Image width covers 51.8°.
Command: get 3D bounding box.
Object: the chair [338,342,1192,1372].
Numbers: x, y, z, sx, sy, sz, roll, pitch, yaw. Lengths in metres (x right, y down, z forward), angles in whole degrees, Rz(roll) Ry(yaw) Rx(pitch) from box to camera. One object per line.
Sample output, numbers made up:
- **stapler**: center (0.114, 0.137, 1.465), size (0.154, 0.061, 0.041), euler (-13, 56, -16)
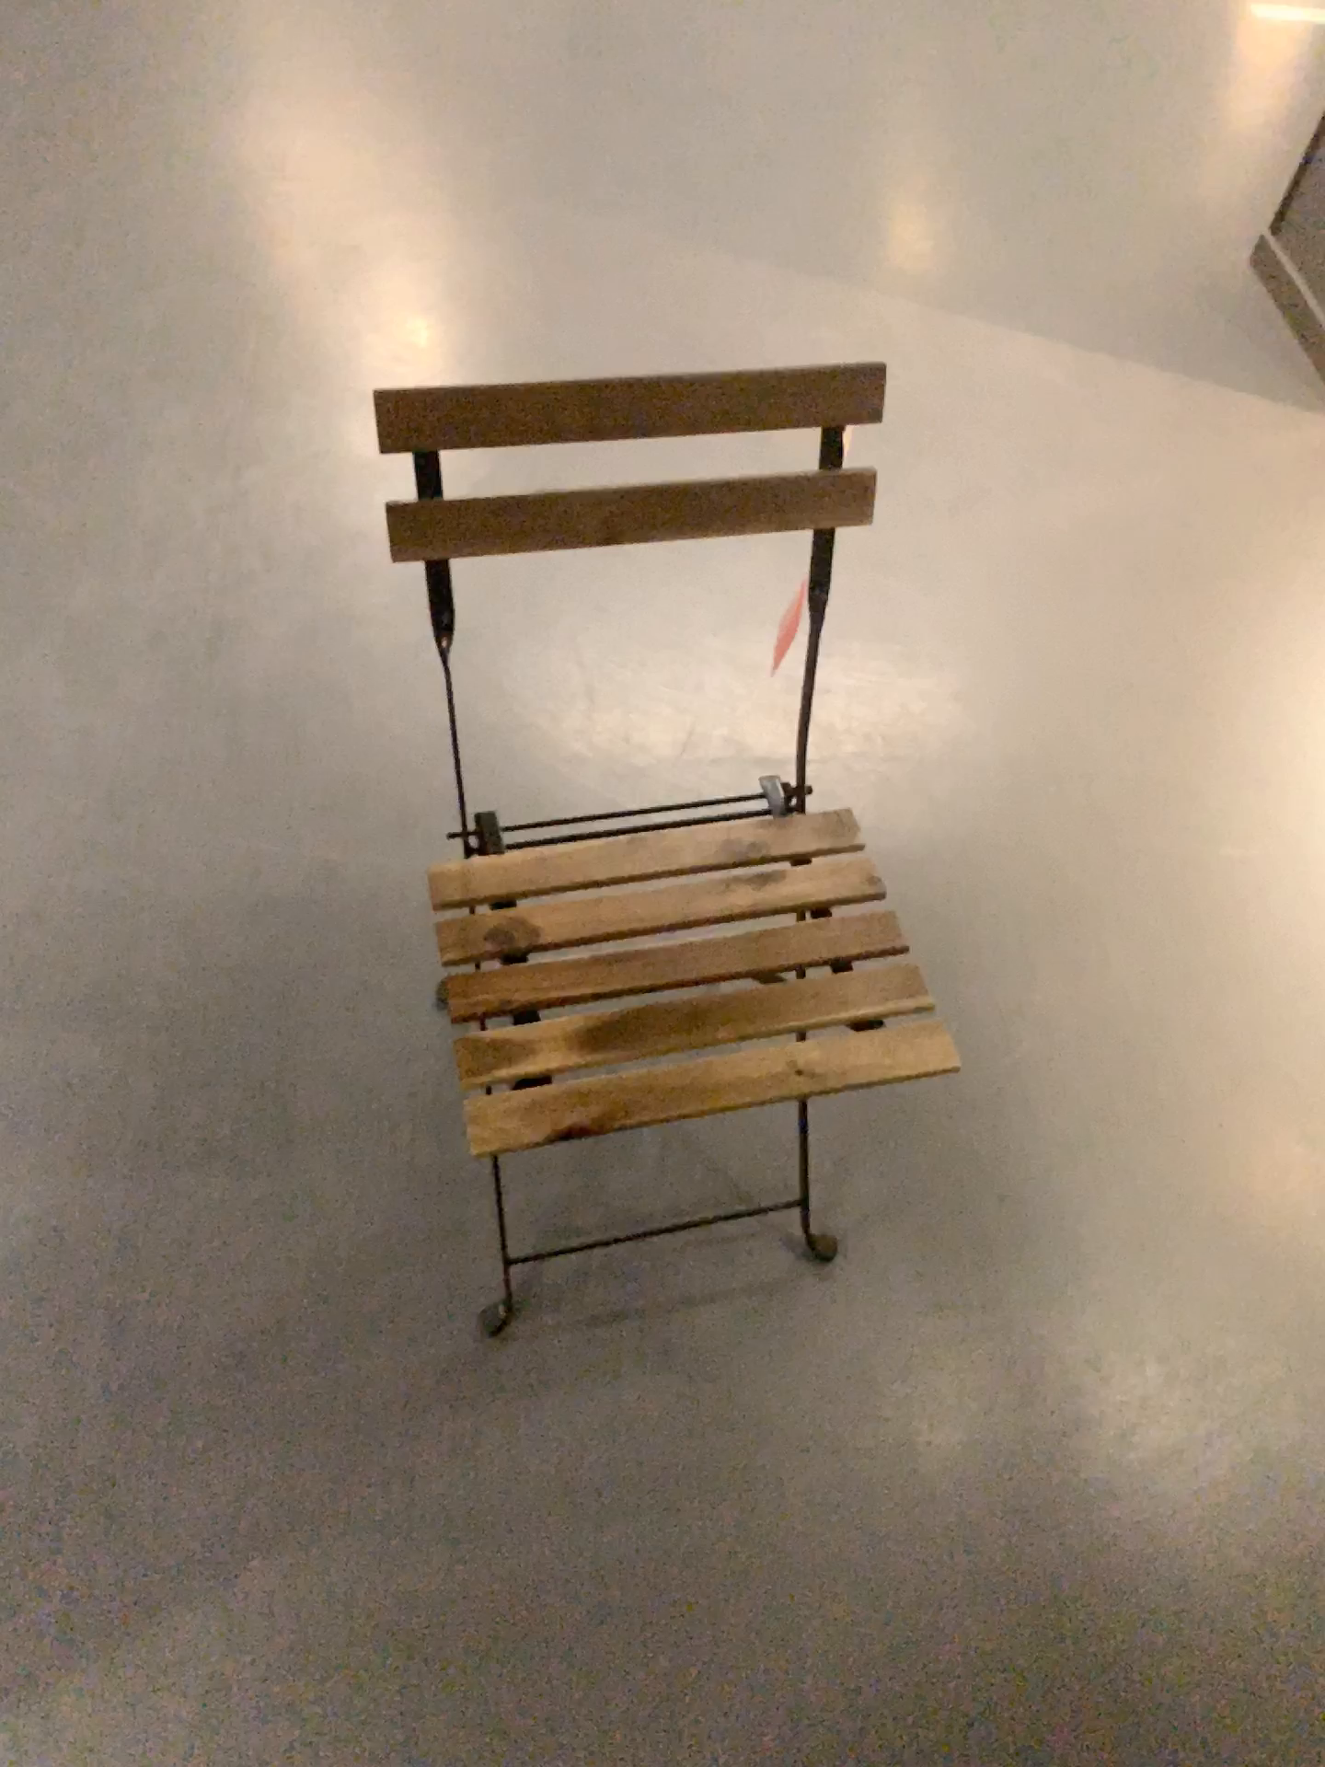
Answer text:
- **chair**: center (0.002, 0.012, 1.156), size (0.430, 0.698, 0.501), euler (-8, 55, -13)
